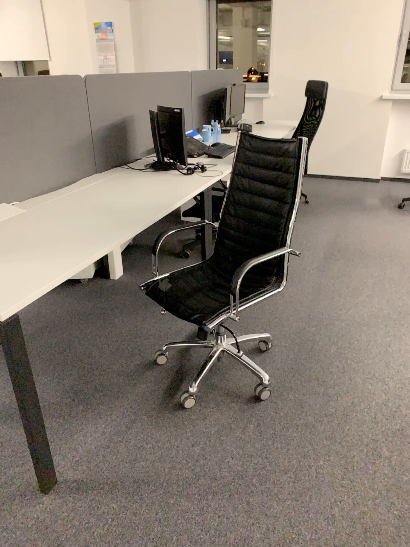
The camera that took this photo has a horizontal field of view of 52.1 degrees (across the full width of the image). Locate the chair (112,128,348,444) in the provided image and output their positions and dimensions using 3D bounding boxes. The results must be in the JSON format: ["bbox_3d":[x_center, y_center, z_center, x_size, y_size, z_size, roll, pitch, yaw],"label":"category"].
[{"bbox_3d":[0.096,-0.009,1.923,0.692,1.134,0.642,-20,32,-34],"label":"chair"}]
